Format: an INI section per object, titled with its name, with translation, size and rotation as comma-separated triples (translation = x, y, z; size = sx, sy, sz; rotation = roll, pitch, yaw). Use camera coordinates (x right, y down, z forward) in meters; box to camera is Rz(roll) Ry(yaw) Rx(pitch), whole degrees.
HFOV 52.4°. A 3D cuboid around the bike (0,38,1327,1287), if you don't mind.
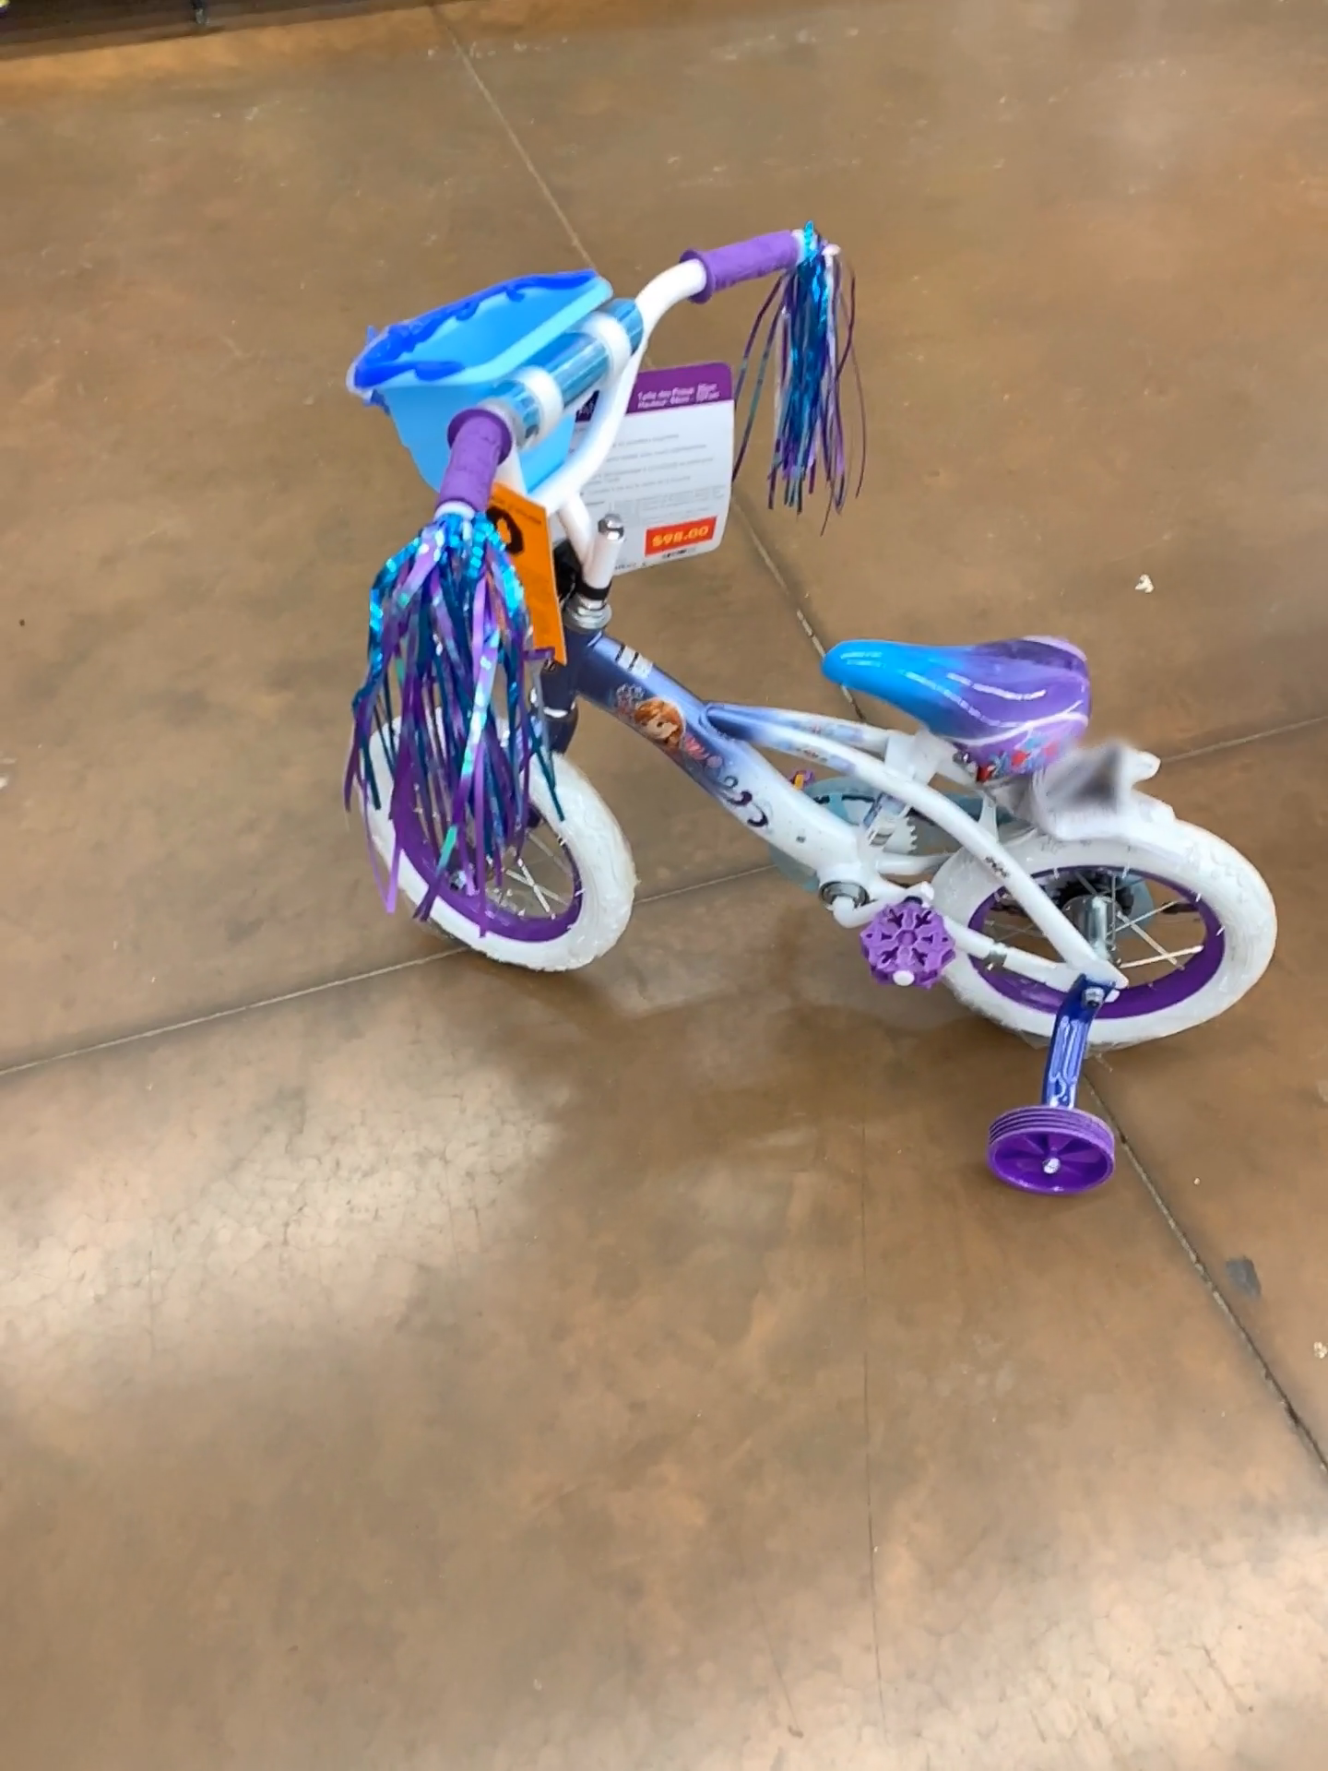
[bike]
translation = 0.113, -0.127, 1.006
size = 0.804, 0.633, 0.441
rotation = 12, 52, 6
